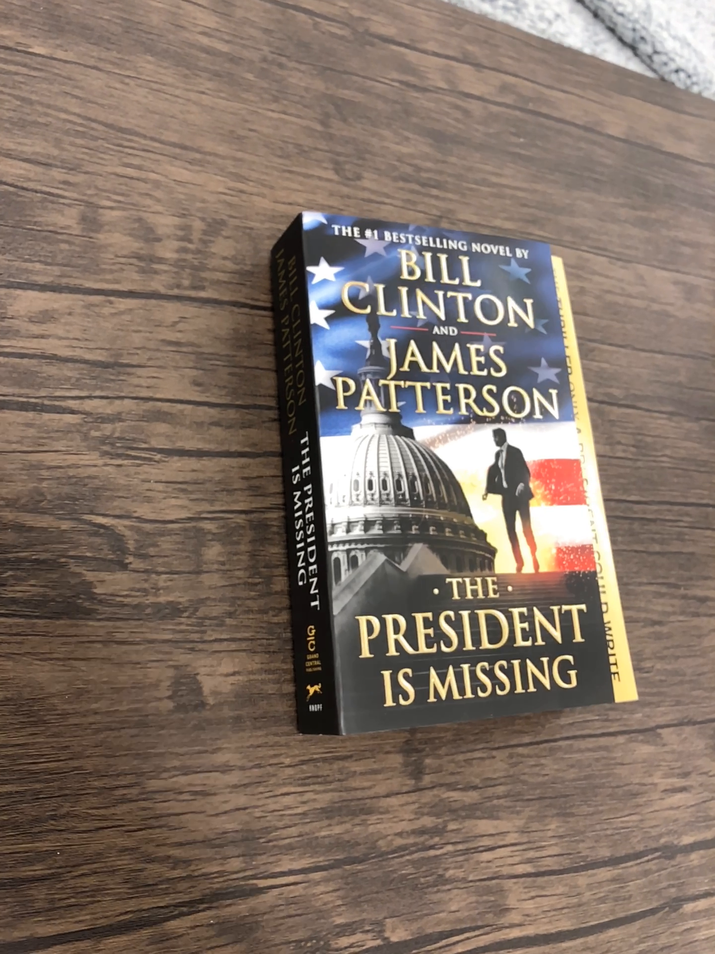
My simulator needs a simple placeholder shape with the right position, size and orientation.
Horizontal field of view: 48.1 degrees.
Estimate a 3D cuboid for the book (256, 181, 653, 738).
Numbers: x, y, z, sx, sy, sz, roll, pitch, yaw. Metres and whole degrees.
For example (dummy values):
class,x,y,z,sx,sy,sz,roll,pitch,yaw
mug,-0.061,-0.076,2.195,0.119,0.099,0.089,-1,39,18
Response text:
class,x,y,z,sx,sy,sz,roll,pitch,yaw
book,0.038,-0.007,0.351,0.140,0.054,0.216,2,74,-26
